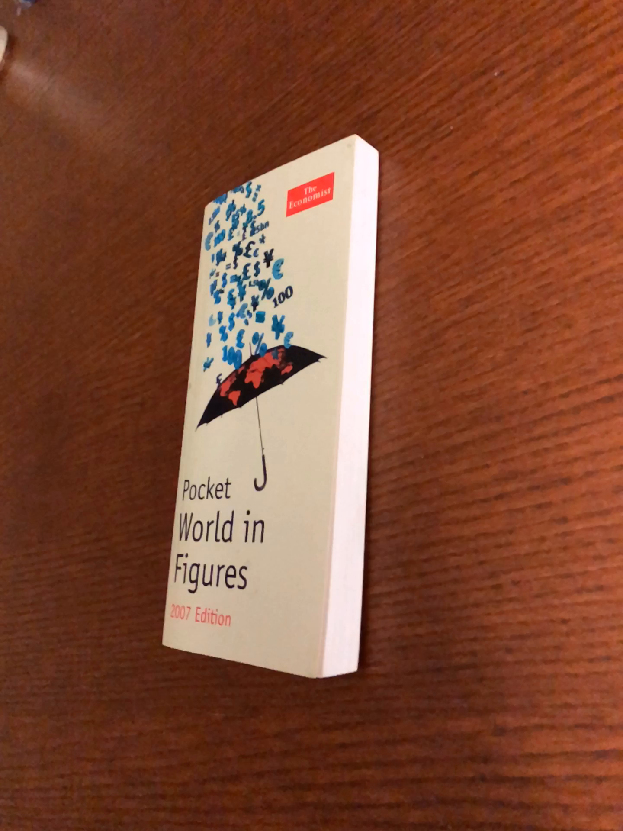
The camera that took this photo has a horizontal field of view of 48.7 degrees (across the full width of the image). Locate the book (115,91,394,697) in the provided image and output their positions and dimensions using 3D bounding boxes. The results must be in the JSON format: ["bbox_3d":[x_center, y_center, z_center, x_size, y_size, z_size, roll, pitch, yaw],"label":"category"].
[{"bbox_3d":[-0.022,-0.009,0.264,0.100,0.030,0.200,-8,72,43],"label":"book"}]
